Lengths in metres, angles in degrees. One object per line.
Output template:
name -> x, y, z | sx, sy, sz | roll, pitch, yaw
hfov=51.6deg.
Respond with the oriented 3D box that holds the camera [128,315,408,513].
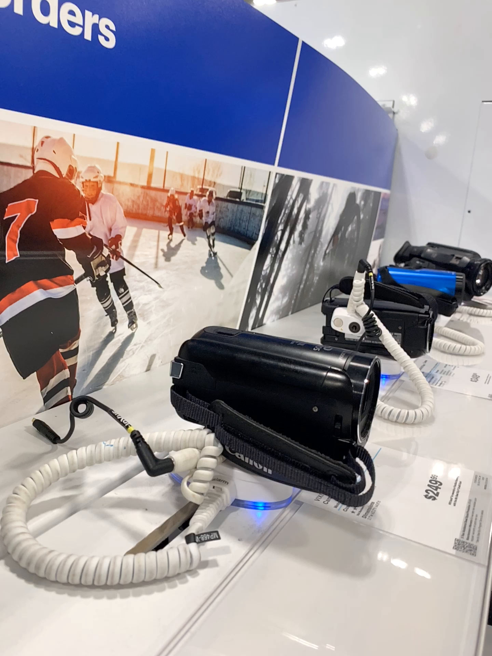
camera -> 0.011, 0.039, 0.294 | 0.139, 0.062, 0.072 | 11, 14, 26
